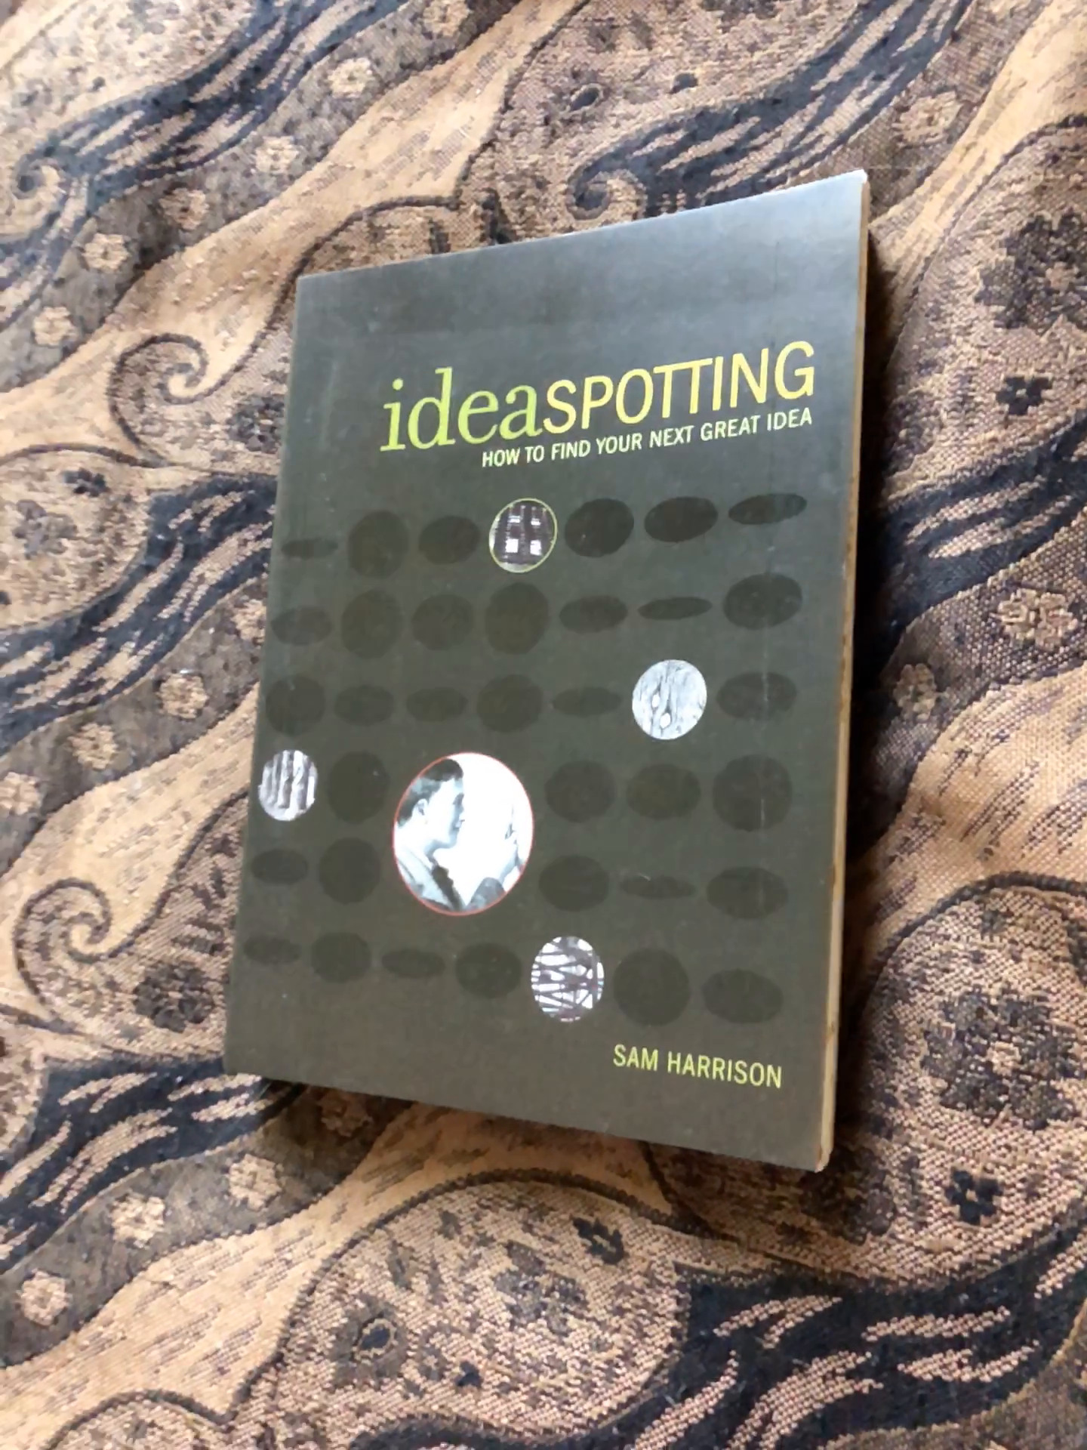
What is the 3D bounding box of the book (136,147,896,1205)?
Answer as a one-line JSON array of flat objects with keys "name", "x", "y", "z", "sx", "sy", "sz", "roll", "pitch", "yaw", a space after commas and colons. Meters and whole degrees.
[{"name": "book", "x": -0.005, "y": -0.011, "z": 0.251, "sx": 0.140, "sy": 0.040, "sz": 0.180, "roll": 0, "pitch": 80, "yaw": 26}]
